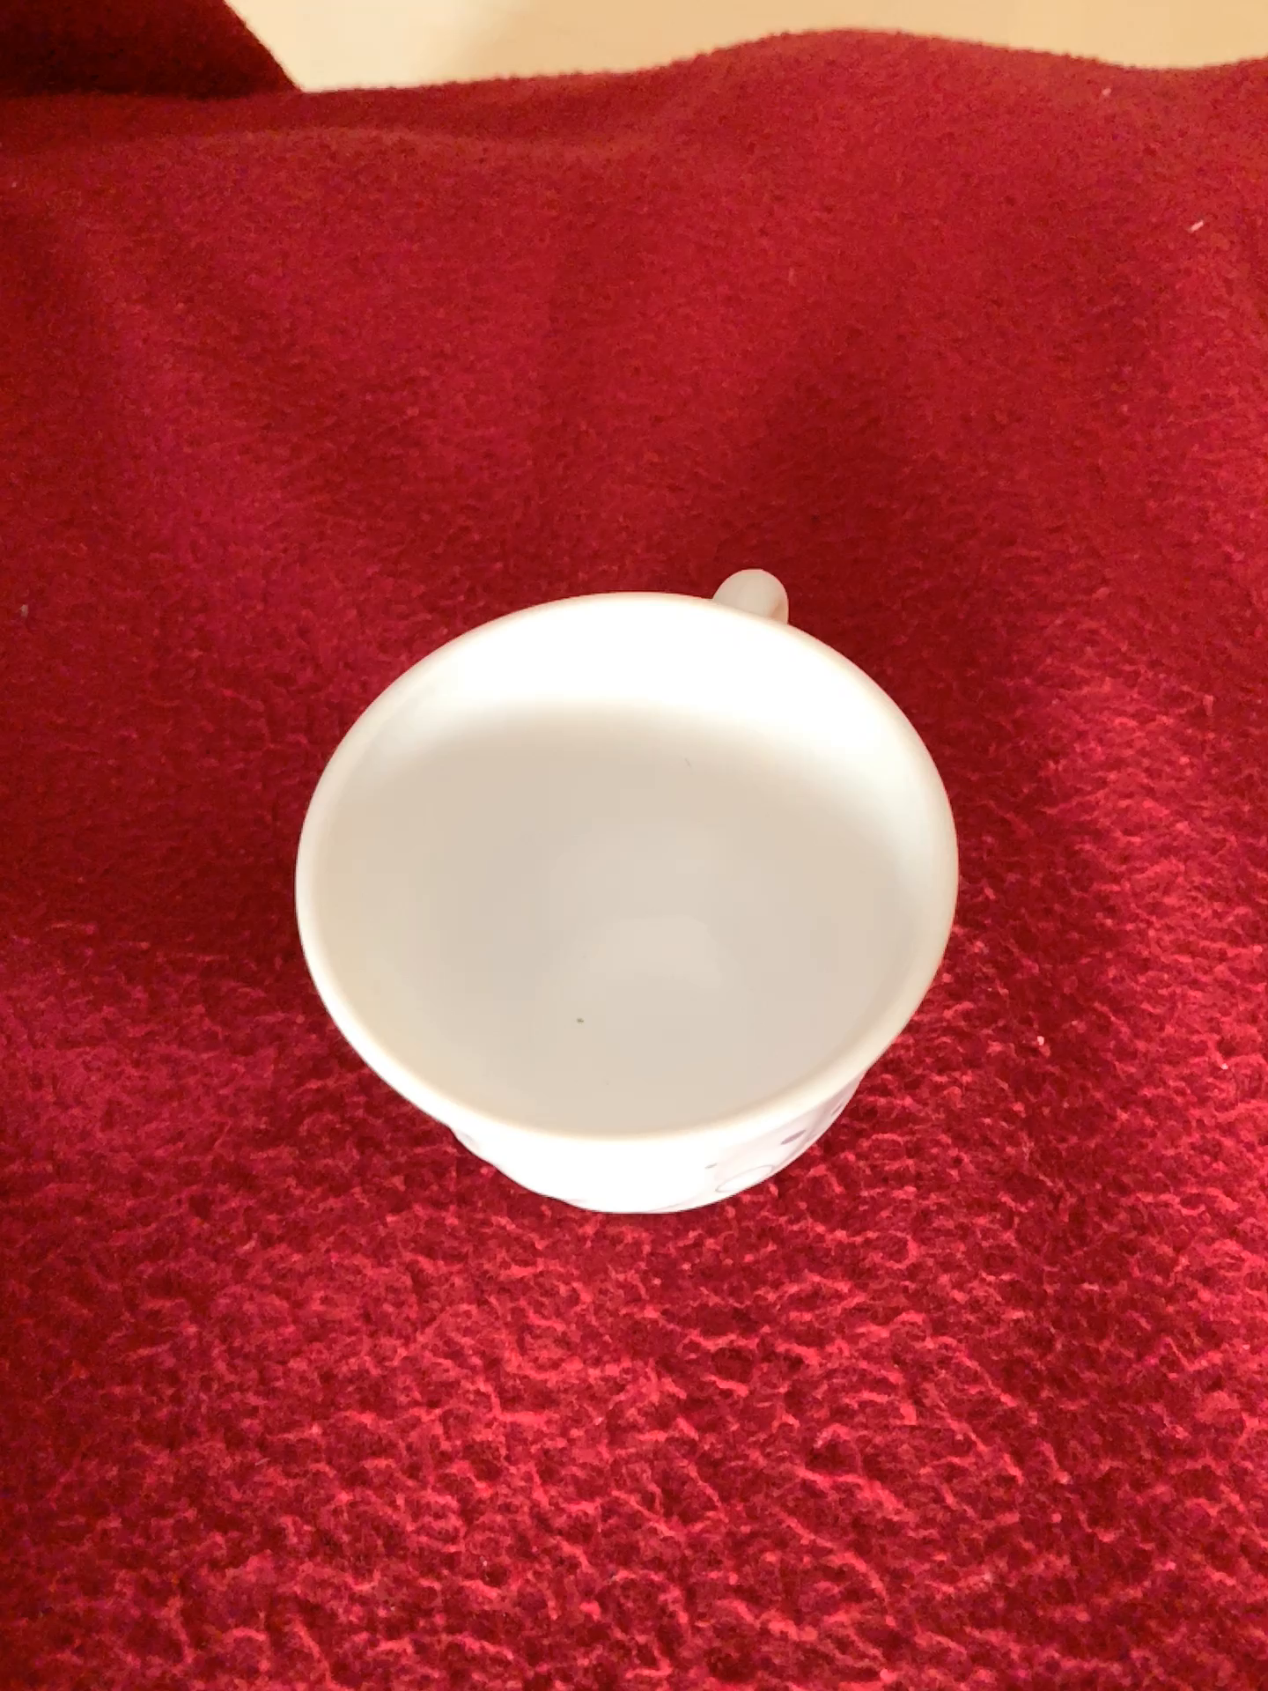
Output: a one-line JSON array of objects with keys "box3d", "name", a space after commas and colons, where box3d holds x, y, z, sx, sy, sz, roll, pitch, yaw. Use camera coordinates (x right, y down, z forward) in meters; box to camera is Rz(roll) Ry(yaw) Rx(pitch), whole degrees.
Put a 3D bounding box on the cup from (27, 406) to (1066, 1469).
[{"box3d": [-0.003, 0.008, 0.165, 0.080, 0.050, 0.100, 18, 62, 10], "name": "cup"}]
